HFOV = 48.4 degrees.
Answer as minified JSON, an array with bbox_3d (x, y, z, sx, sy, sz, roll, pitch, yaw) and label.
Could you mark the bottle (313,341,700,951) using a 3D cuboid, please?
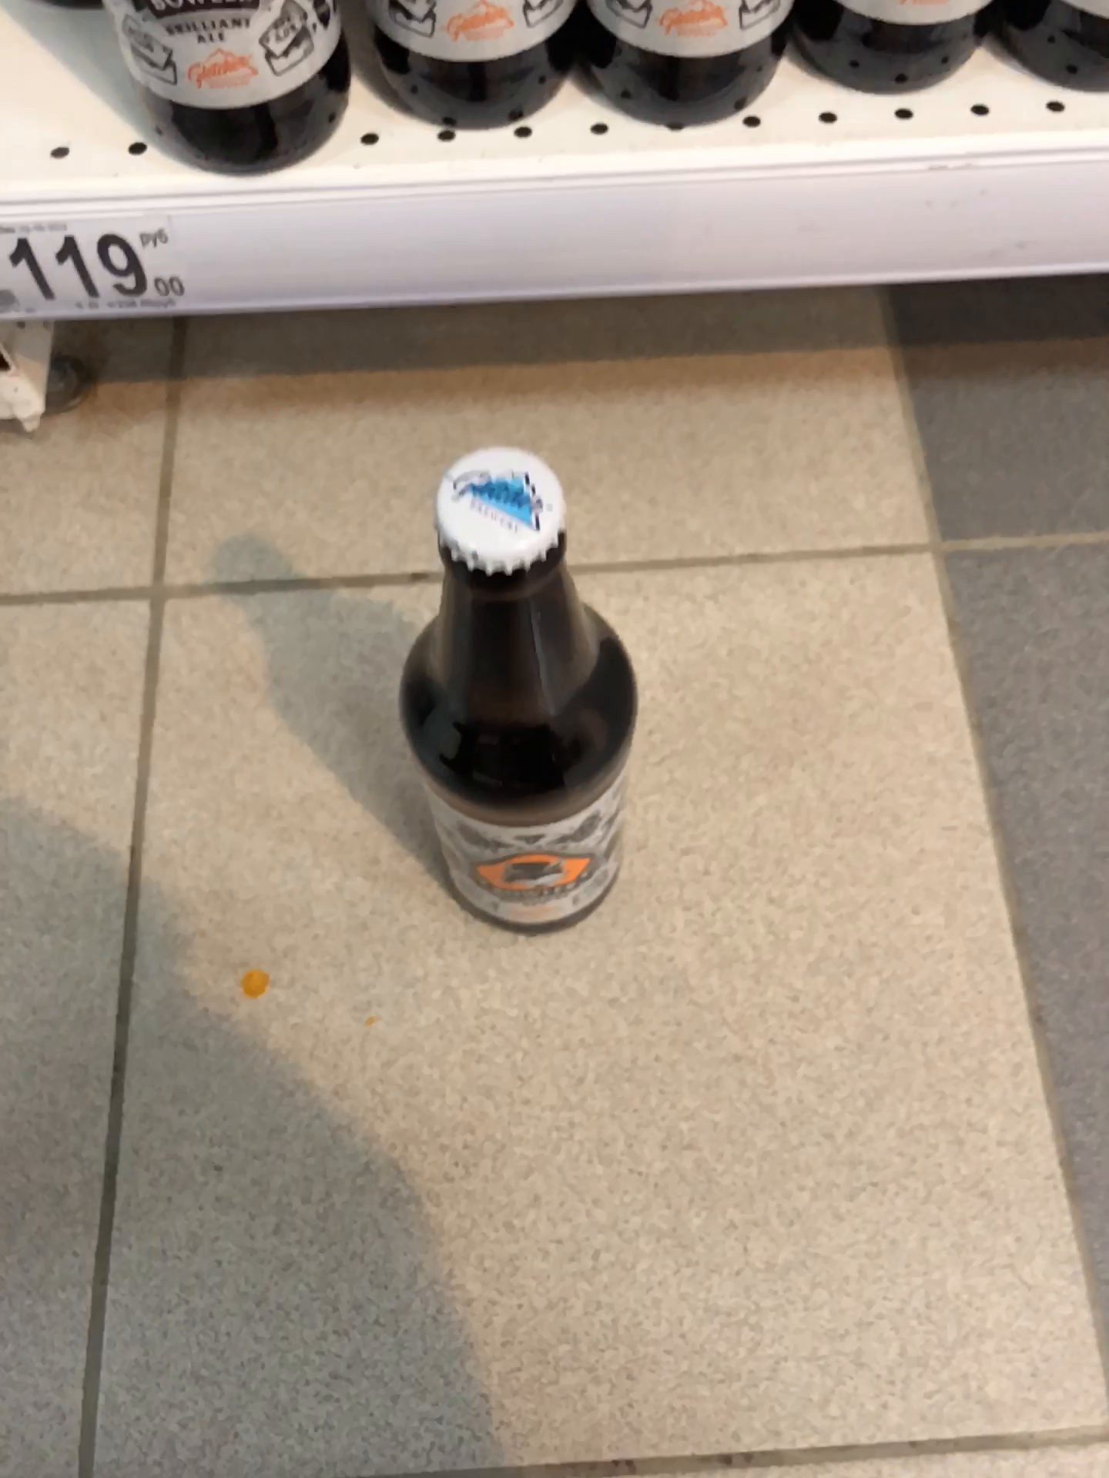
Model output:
[{"bbox_3d":[-0.010,-0.004,0.365,0.074,0.239,0.070,0,67,1],"label":"bottle"}]
